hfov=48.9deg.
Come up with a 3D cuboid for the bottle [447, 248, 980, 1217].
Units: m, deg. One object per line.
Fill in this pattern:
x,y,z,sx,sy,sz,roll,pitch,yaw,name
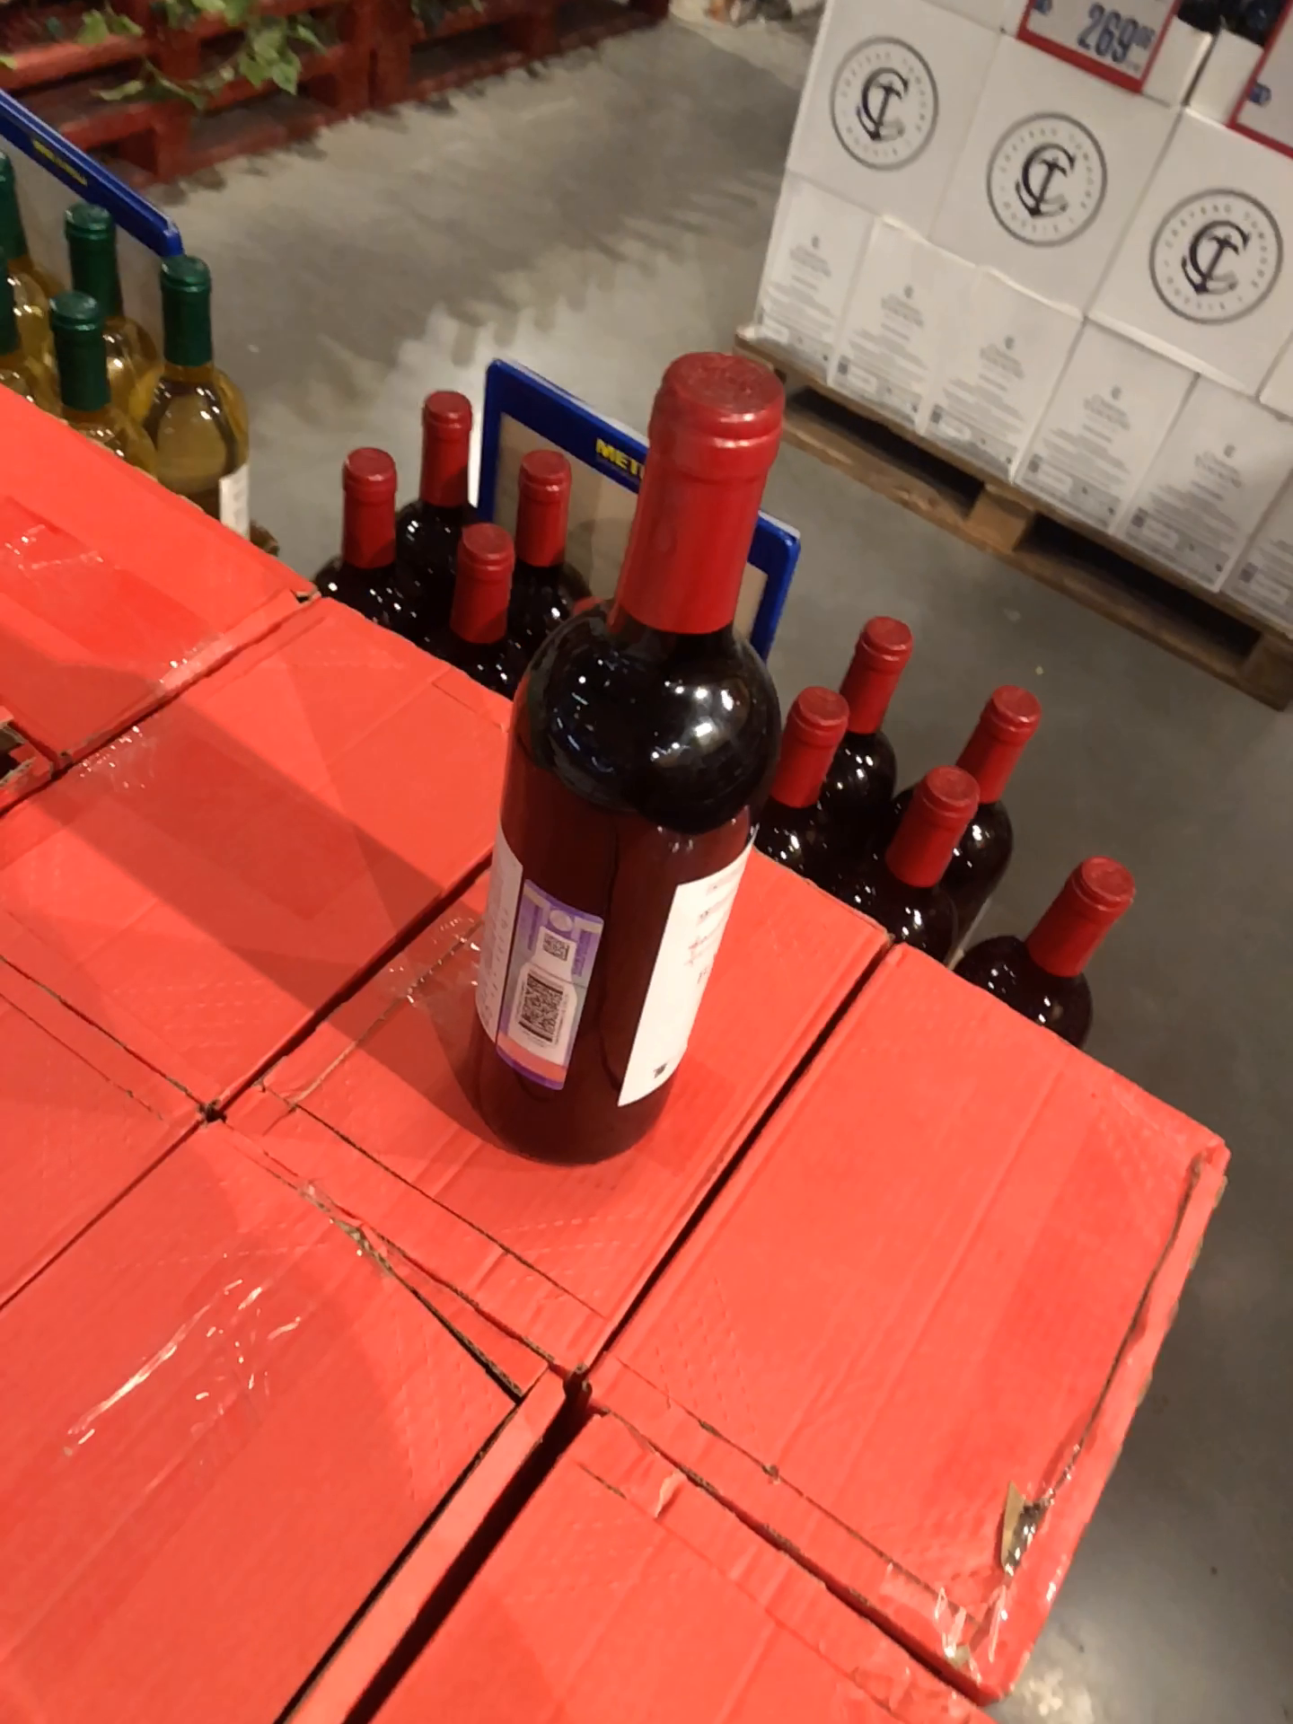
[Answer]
0.000,-0.010,0.411,0.080,0.287,0.091,9,48,-7,bottle
